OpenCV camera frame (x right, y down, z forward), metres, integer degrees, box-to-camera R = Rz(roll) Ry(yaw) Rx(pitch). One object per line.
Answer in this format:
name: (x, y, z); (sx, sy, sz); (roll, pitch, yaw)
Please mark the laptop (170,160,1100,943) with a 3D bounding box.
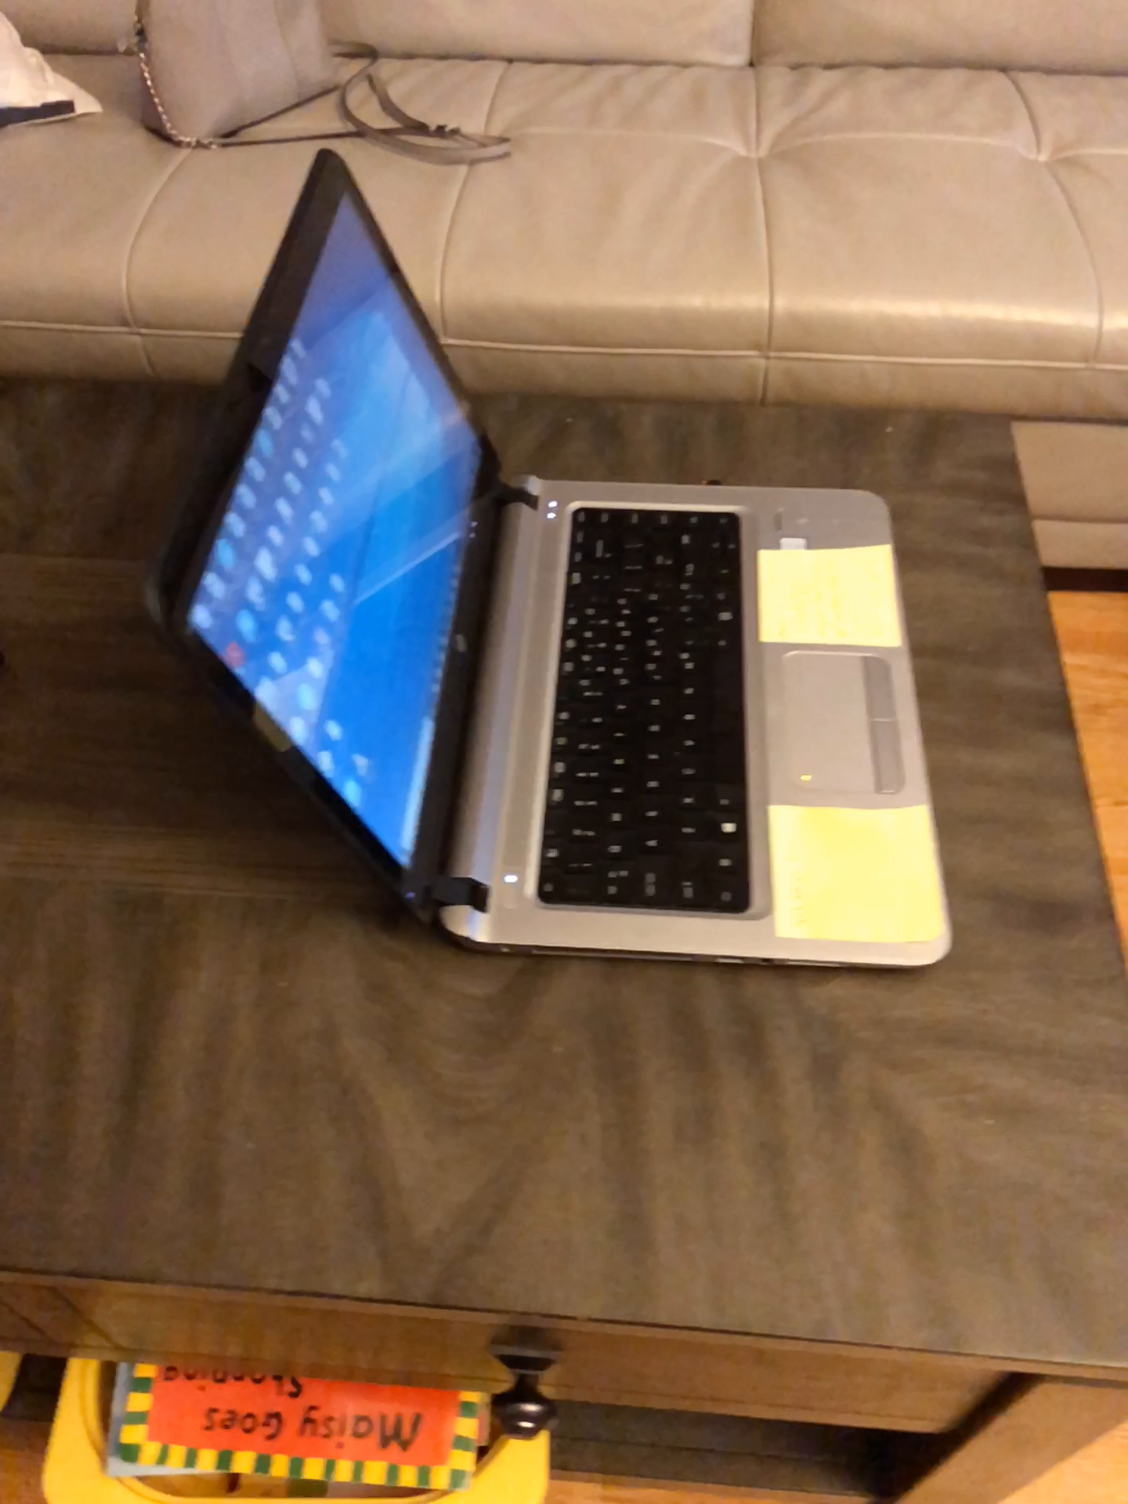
laptop: (0.033, -0.105, 0.594); (0.313, 0.203, 0.317); (2, 51, 3)
